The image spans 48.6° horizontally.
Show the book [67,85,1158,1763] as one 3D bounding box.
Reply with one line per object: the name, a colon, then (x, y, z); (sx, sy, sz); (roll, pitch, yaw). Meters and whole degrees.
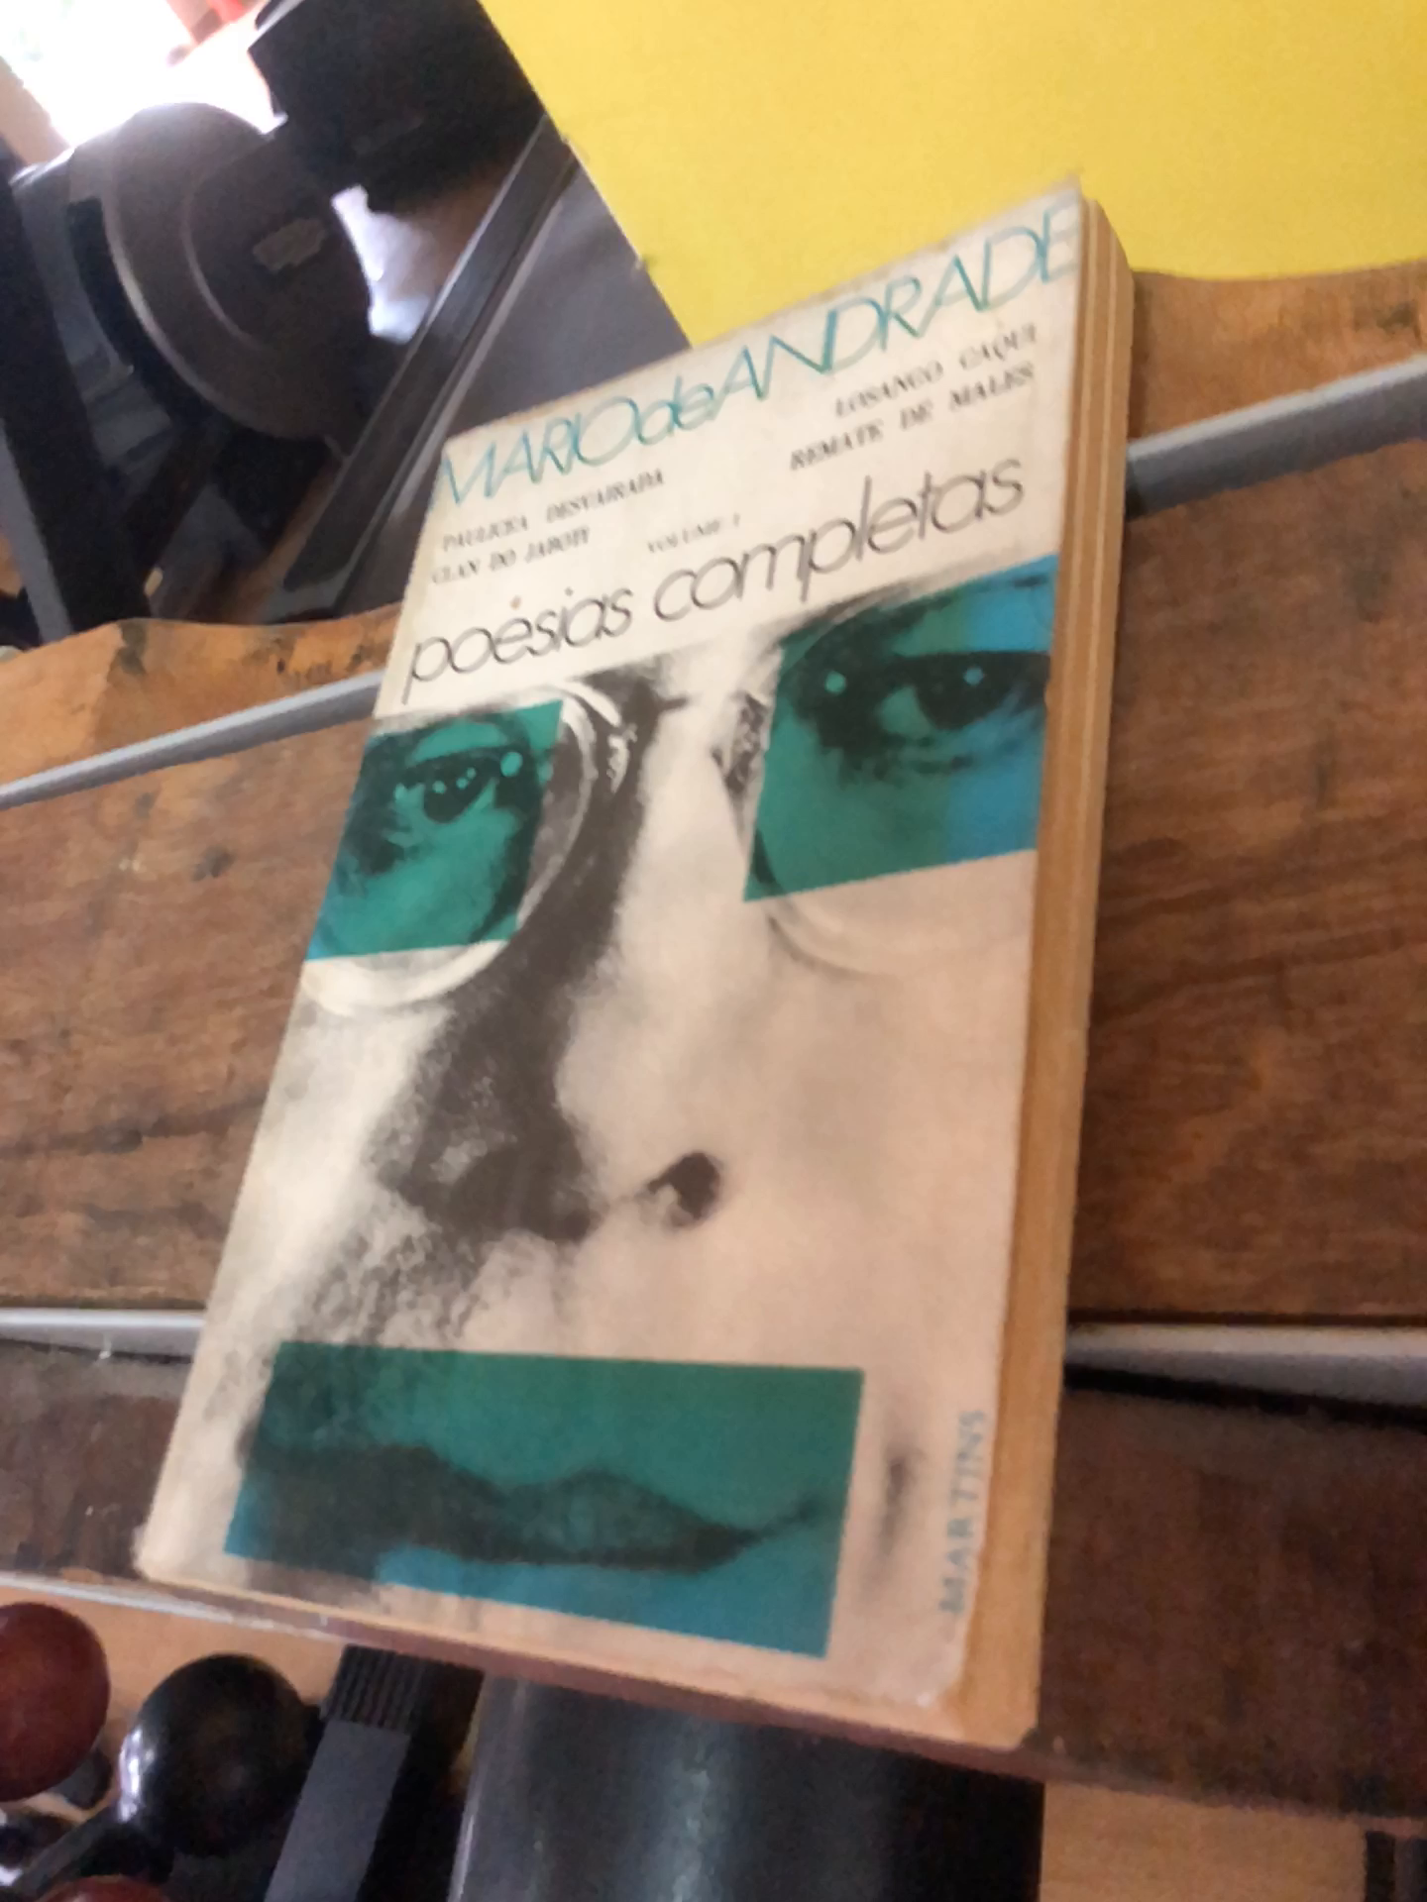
book: (-0.012, -0.013, 0.227); (0.140, 0.020, 0.210); (-7, 64, 34)
